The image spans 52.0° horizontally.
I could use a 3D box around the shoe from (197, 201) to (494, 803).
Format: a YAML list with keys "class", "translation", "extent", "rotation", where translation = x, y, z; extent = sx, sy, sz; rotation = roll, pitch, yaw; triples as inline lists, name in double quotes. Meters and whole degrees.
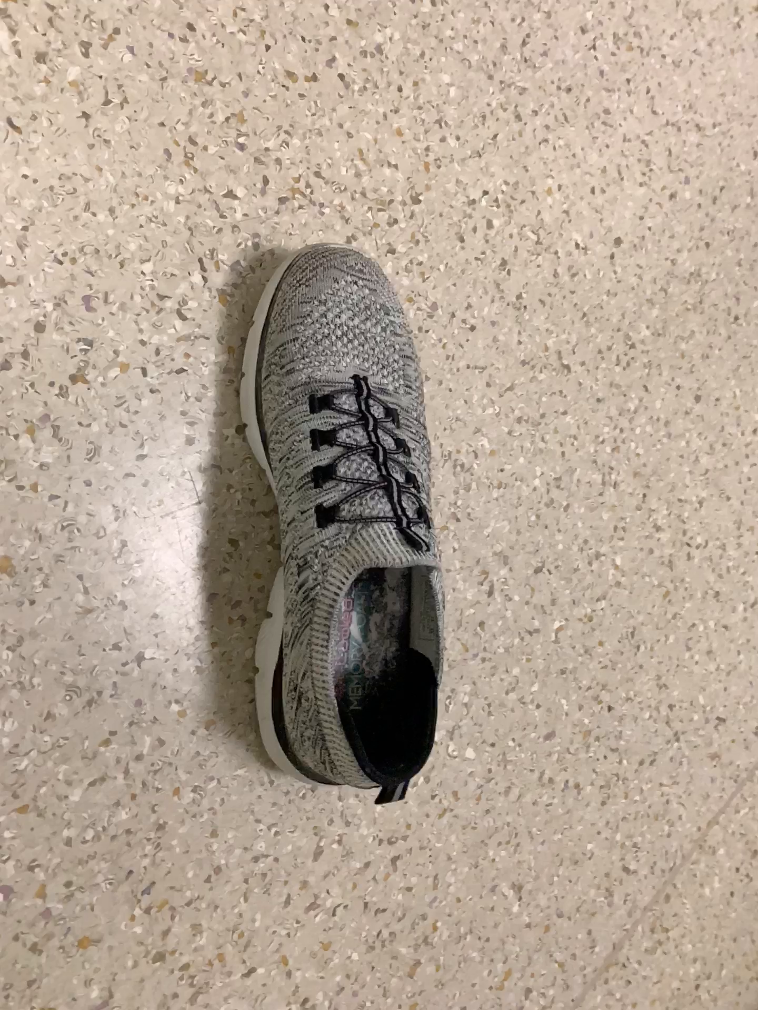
- class: "shoe"
  translation: [-0.018, 0.000, 0.374]
  extent: [0.094, 0.093, 0.241]
  rotation: [5, 87, -32]
